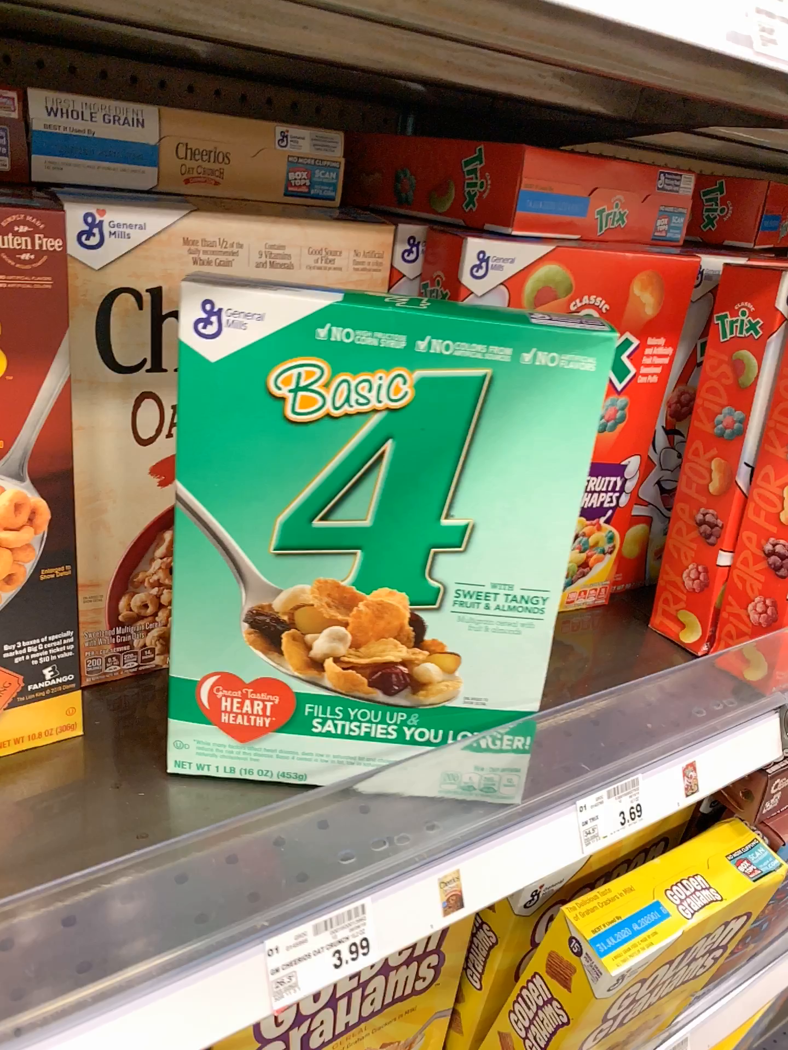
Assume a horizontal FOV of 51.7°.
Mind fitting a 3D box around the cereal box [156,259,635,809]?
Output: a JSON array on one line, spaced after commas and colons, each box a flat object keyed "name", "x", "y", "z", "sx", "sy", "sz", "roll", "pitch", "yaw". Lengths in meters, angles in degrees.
[{"name": "cereal box", "x": -0.011, "y": 0.014, "z": 0.412, "sx": 0.200, "sy": 0.259, "sz": 0.050, "roll": 6, "pitch": 21, "yaw": -3}]
